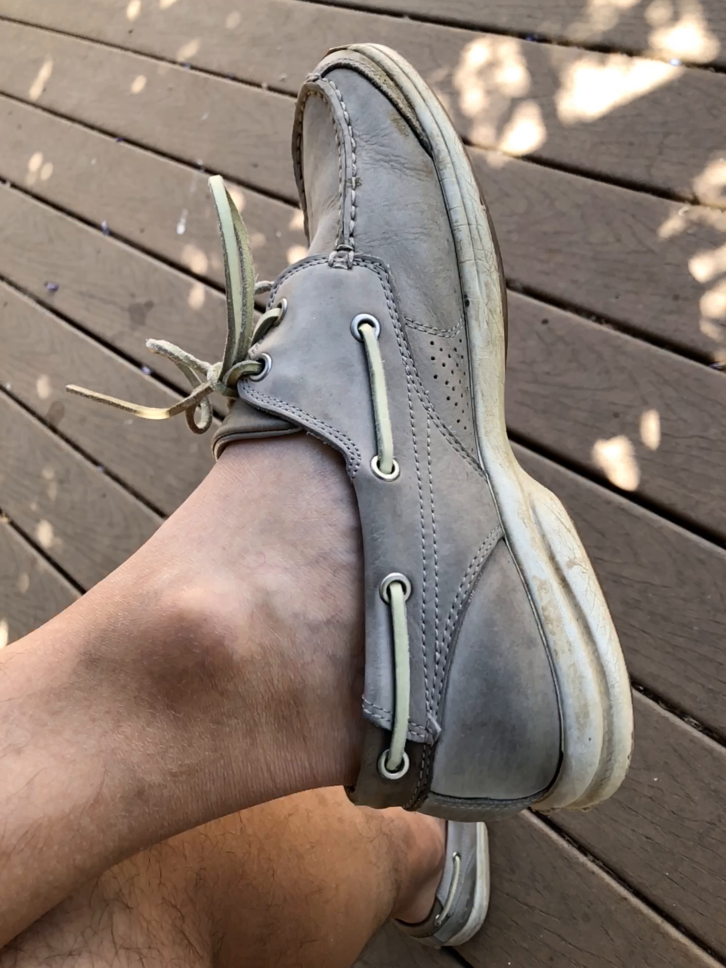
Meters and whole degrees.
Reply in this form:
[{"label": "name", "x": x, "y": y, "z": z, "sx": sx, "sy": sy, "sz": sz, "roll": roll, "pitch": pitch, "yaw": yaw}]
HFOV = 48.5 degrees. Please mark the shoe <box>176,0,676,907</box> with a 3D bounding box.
[{"label": "shoe", "x": -0.004, "y": -0.034, "z": 0.289, "sx": 0.106, "sy": 0.113, "sz": 0.303, "roll": -2, "pitch": 71, "yaw": -15}]
